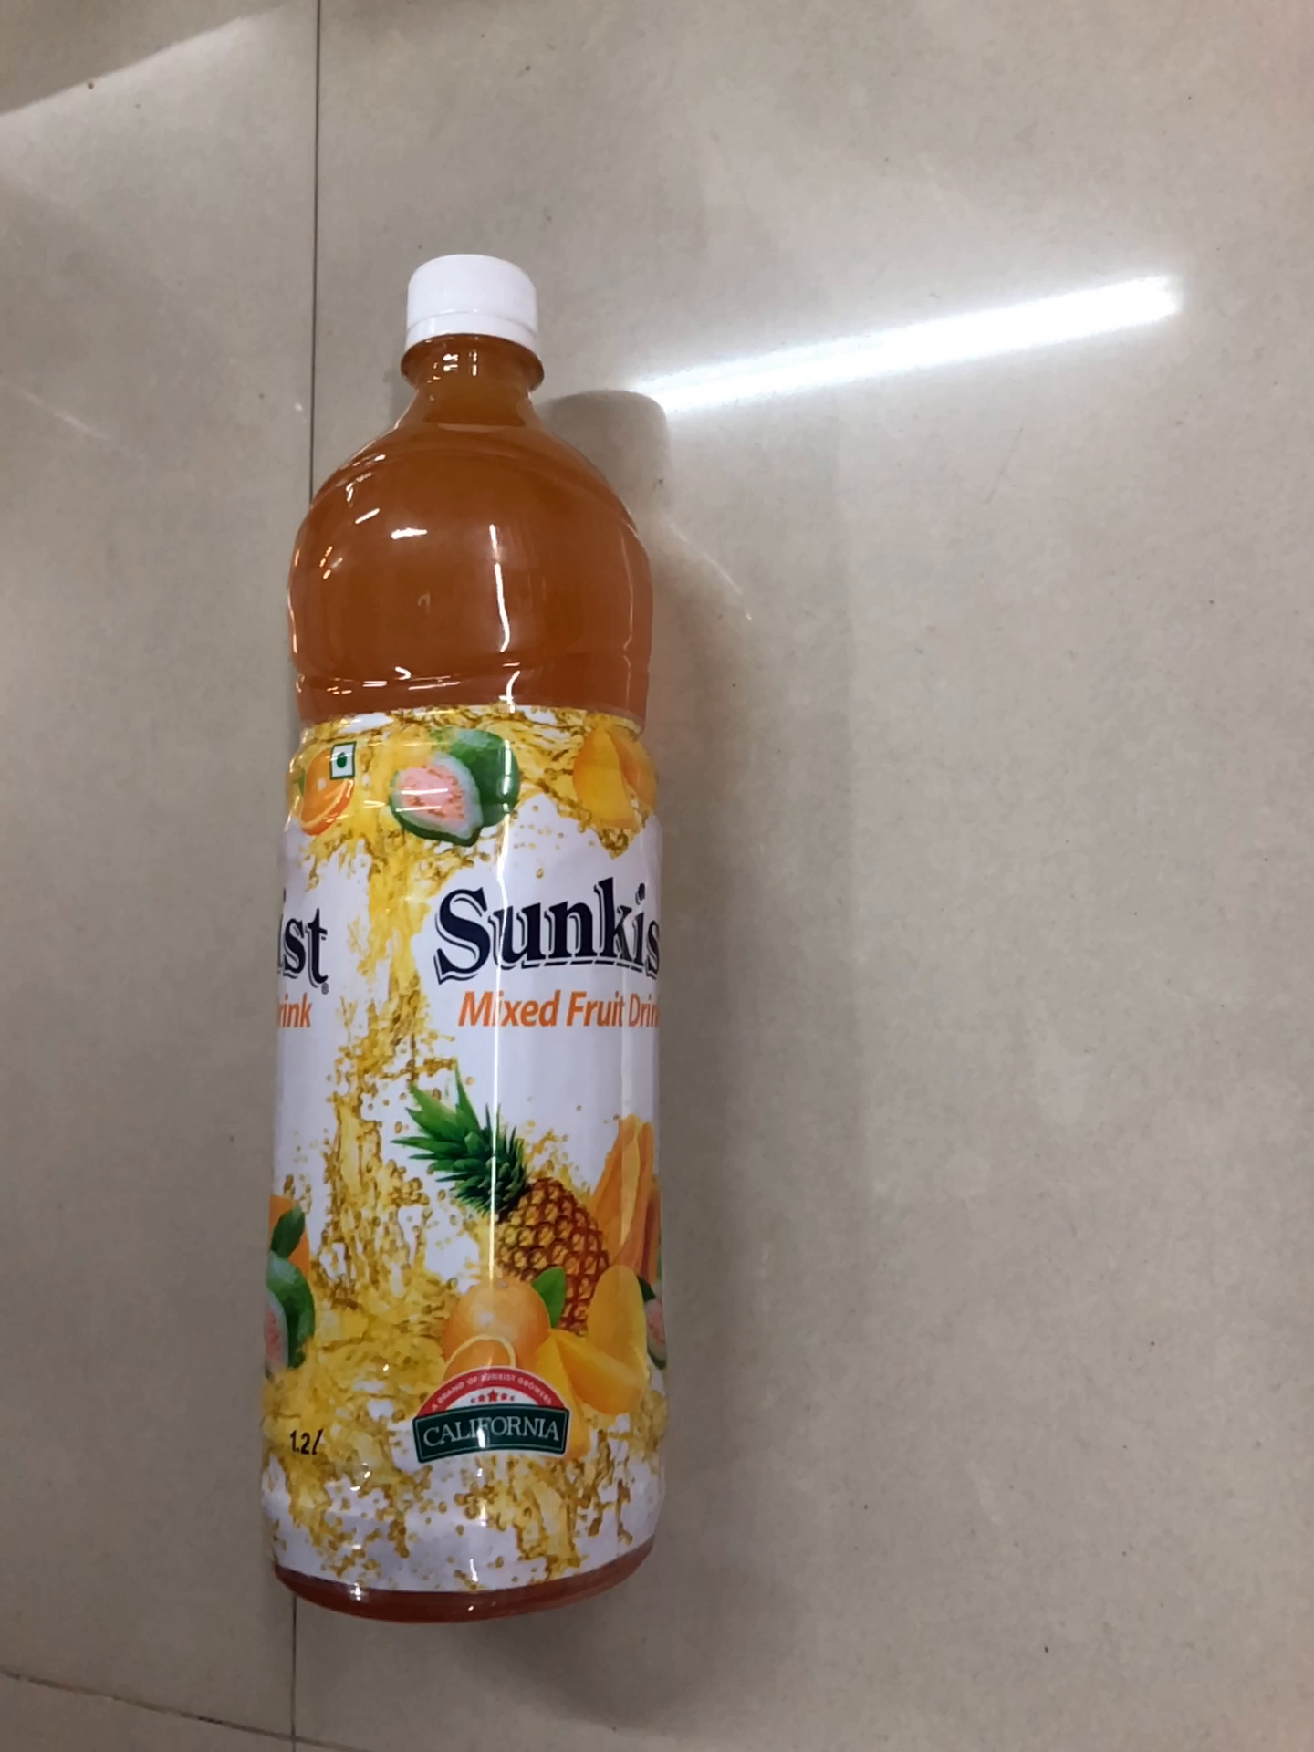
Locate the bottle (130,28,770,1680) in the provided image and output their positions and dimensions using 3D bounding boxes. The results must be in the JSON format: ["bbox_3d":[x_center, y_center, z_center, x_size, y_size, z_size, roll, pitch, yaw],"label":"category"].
[{"bbox_3d":[-0.037,-0.007,0.311,0.100,0.080,0.290,-2,83,23],"label":"bottle"}]
